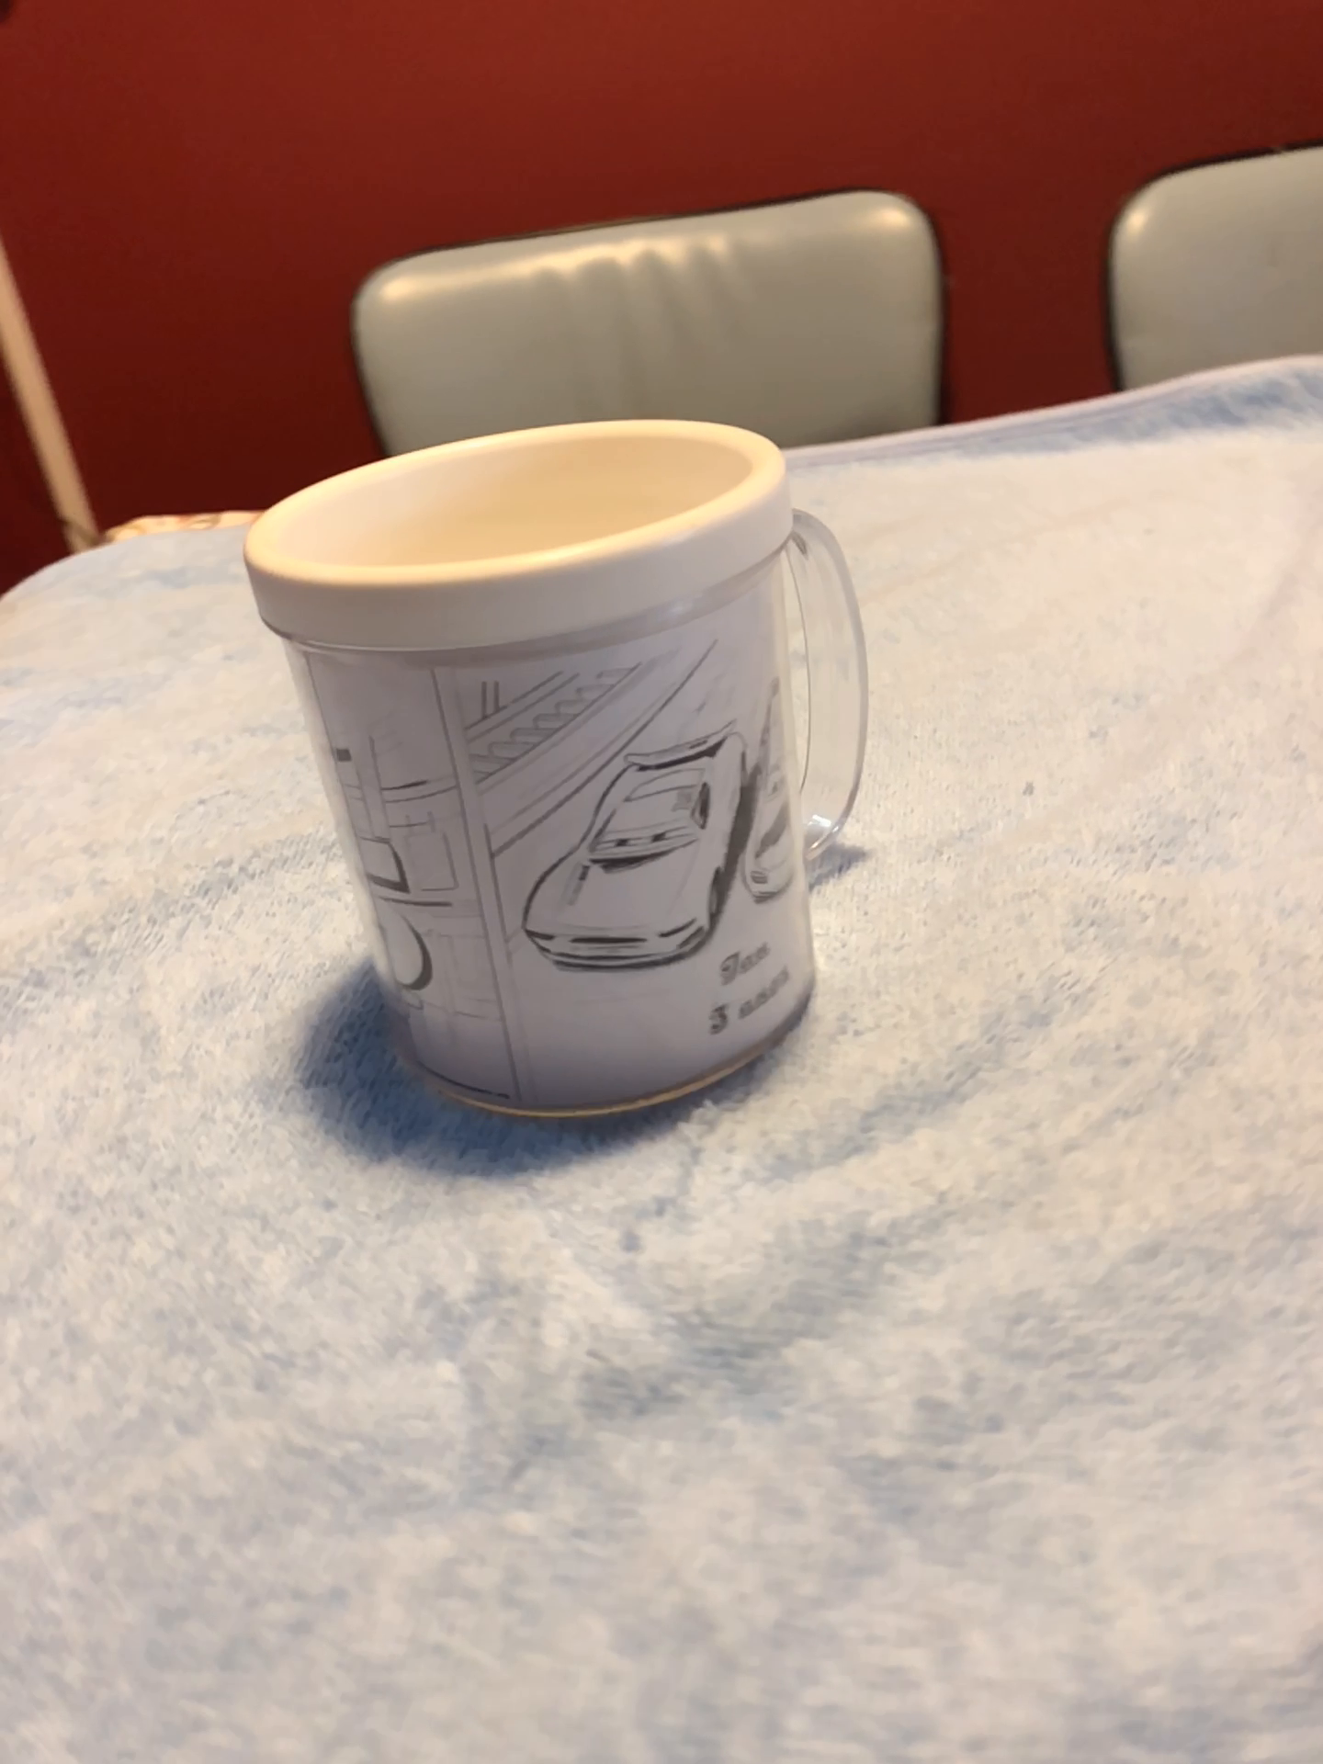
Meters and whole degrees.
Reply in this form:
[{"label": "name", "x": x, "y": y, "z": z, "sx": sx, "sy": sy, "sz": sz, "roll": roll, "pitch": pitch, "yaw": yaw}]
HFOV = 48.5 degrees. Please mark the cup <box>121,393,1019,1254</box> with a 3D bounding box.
[{"label": "cup", "x": -0.011, "y": -0.022, "z": 0.270, "sx": 0.120, "sy": 0.099, "sz": 0.090, "roll": -26, "pitch": 32, "yaw": -28}]
